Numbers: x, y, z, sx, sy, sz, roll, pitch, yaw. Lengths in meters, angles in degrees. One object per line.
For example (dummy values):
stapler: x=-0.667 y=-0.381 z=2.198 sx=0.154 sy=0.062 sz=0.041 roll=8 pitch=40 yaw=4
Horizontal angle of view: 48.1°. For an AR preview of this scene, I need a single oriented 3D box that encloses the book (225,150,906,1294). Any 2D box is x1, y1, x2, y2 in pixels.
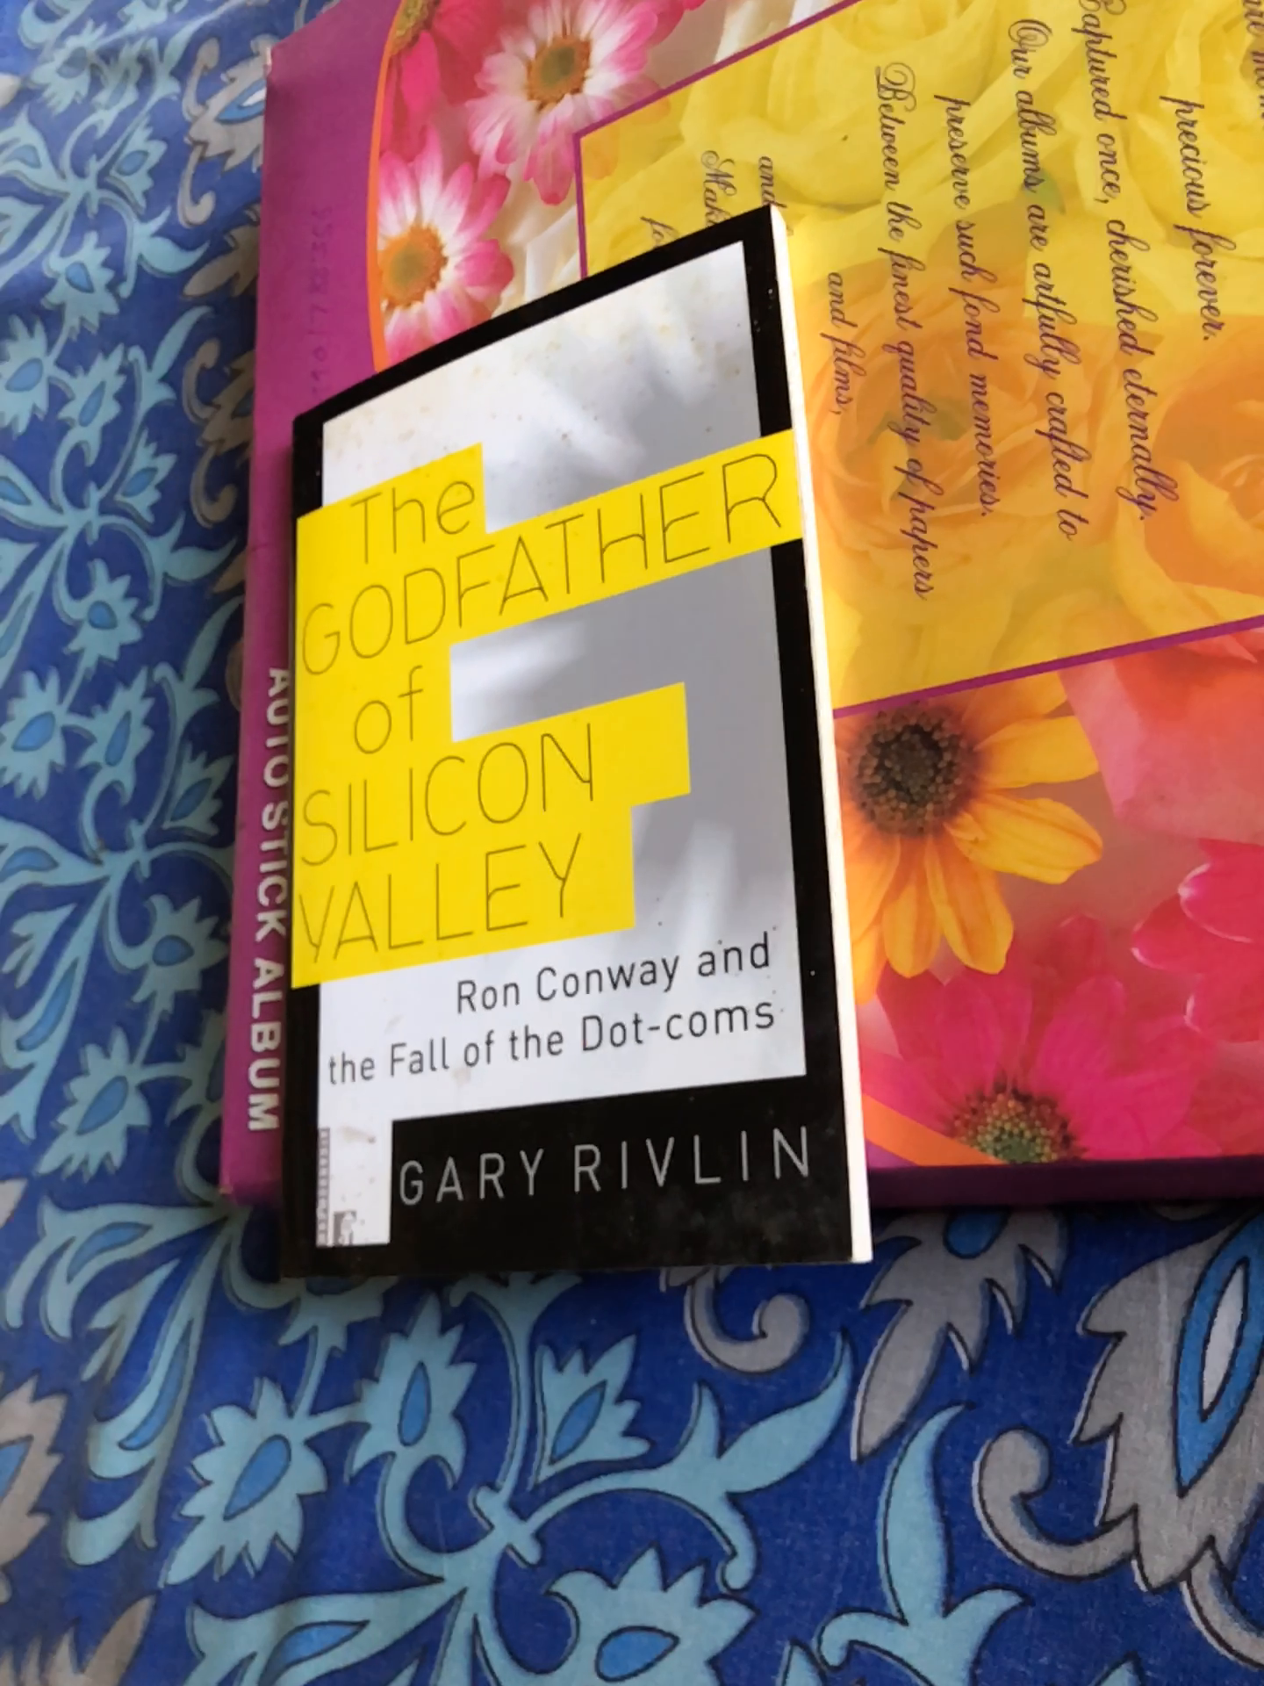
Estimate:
book: x=-0.026 y=-0.019 z=0.306 sx=0.150 sy=0.020 sz=0.220 roll=-11 pitch=75 yaw=30
